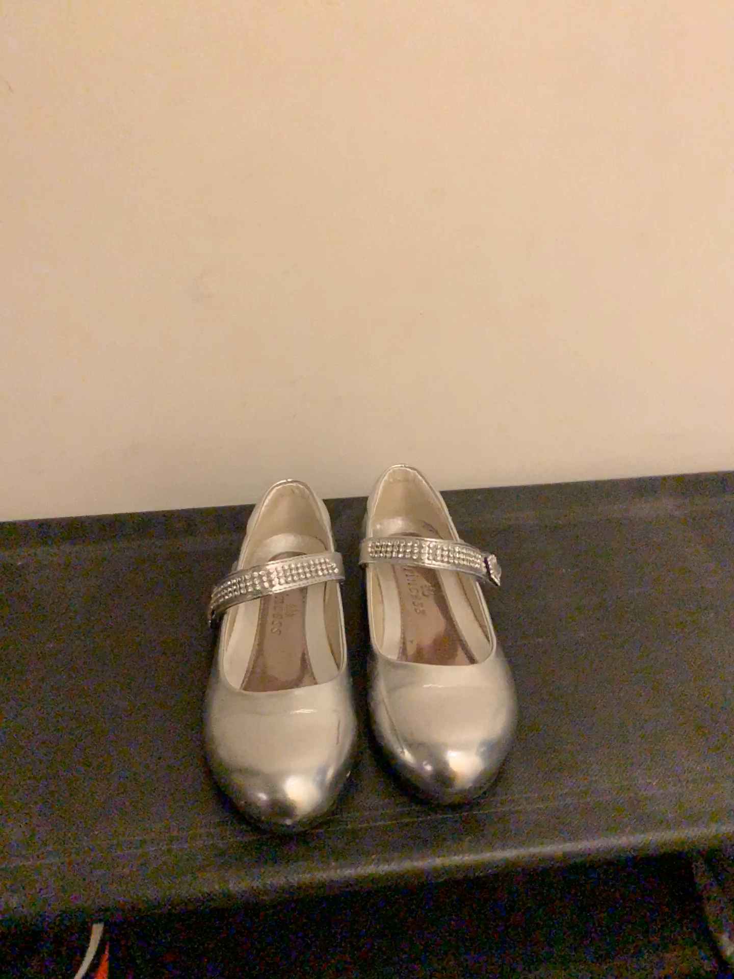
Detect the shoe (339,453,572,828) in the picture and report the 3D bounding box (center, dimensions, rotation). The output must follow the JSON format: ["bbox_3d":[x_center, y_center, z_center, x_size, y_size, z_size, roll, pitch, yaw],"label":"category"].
[{"bbox_3d":[0.037,0.068,0.409,0.090,0.089,0.182,-6,32,-1],"label":"shoe"}]

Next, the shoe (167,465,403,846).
[{"bbox_3d":[-0.038,0.075,0.406,0.090,0.089,0.182,-6,32,-1],"label":"shoe"}]
